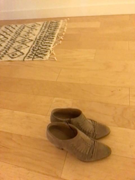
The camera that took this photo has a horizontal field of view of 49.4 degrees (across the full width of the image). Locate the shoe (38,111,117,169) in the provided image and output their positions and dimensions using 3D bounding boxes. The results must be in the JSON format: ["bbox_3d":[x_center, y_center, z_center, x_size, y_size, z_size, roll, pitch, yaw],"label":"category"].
[{"bbox_3d":[0.044,0.195,0.587,0.270,0.129,0.111,9,49,19],"label":"shoe"}]

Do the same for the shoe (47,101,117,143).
[{"bbox_3d":[0.066,0.133,0.633,0.270,0.119,0.101,4,47,14],"label":"shoe"}]
